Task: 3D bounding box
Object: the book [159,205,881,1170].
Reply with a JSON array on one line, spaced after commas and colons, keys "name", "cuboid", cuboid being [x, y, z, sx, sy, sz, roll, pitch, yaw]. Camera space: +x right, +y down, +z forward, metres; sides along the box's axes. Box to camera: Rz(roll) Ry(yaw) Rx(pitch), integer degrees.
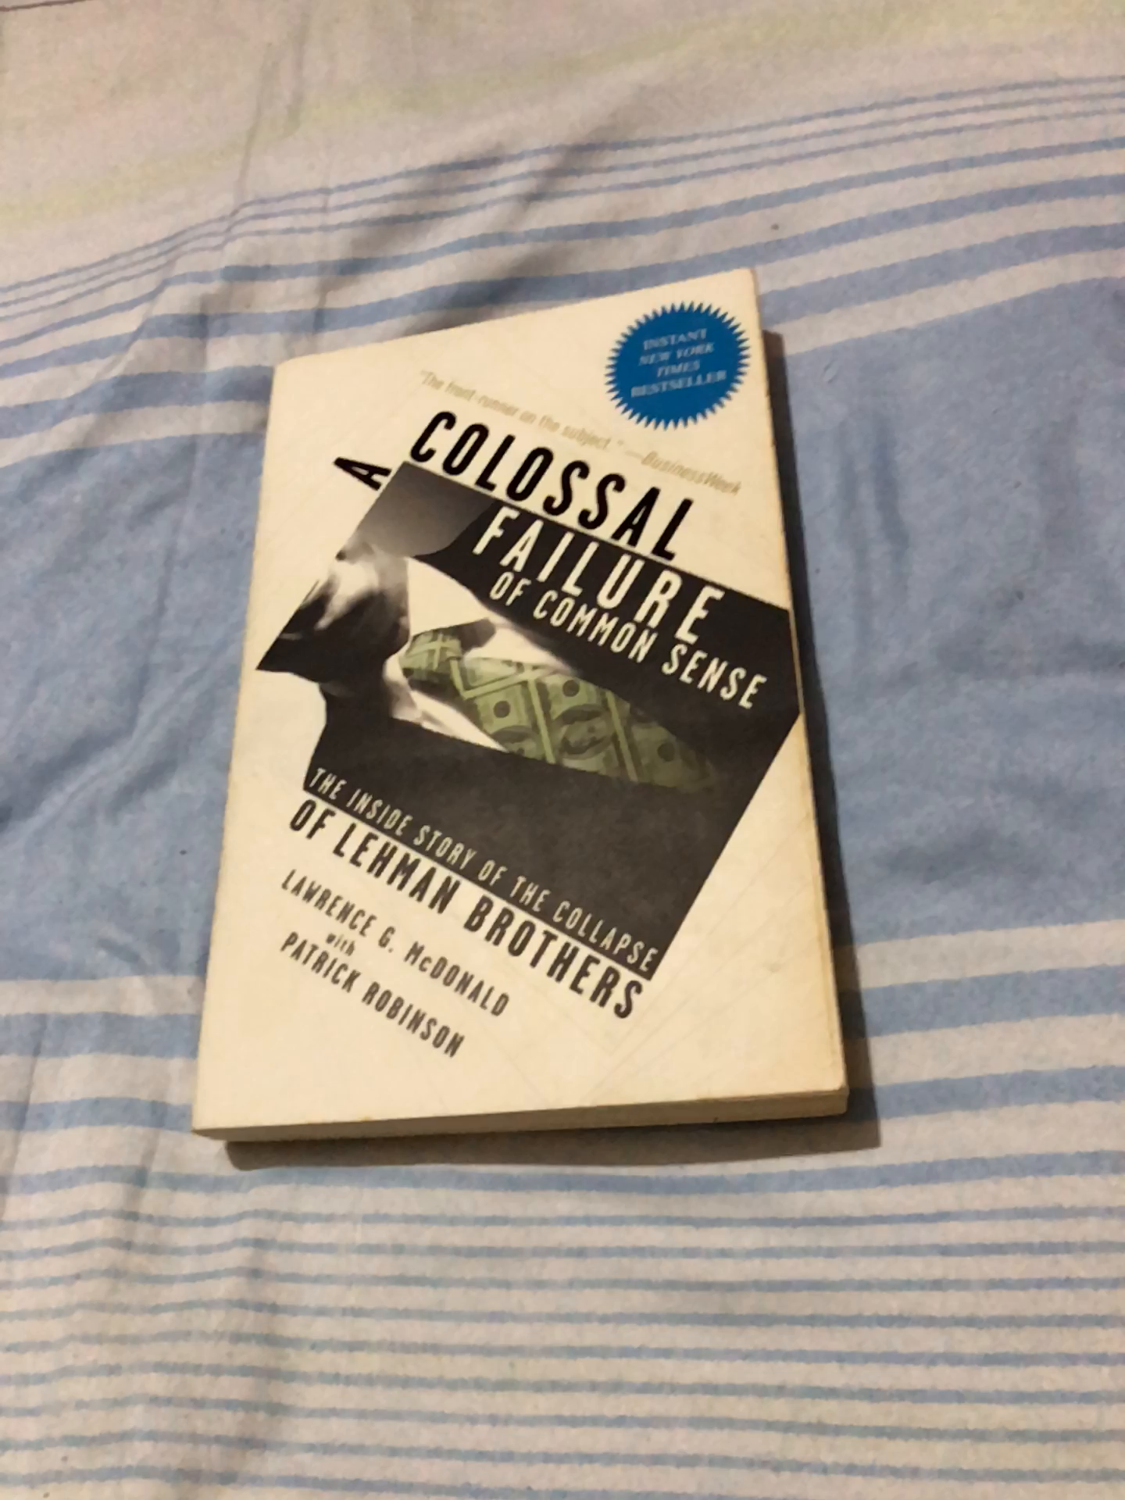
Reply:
[{"name": "book", "cuboid": [-0.010, -0.021, 0.300, 0.140, 0.040, 0.220, -7, 64, 11]}]
